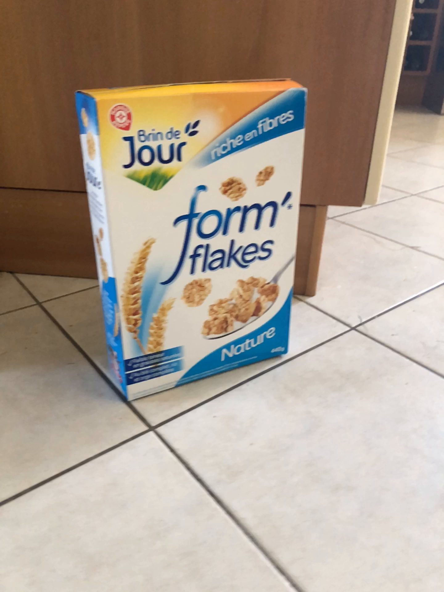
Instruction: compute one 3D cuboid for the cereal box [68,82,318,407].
[{"bbox_3d":[-0.021,-0.053,0.476,0.201,0.278,0.070,-13,29,-25],"label":"cereal box"}]
